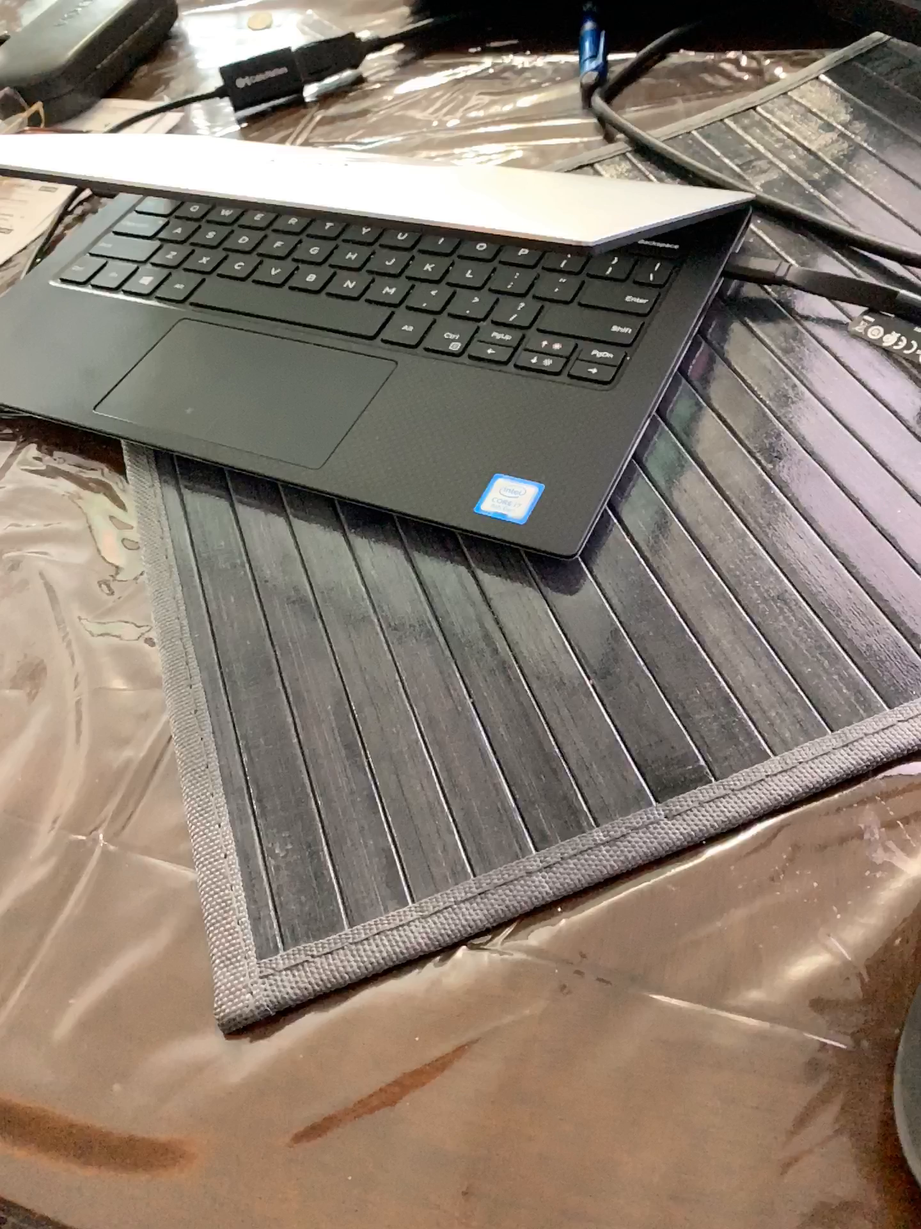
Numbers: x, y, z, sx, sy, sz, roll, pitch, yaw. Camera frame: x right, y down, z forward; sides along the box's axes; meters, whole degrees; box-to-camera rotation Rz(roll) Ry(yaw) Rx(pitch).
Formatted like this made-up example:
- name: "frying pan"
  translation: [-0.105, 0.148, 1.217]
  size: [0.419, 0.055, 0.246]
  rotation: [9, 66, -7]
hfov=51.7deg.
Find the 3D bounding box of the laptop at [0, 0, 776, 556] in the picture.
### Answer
- name: "laptop"
  translation: [-0.061, -0.151, 0.347]
  size: [0.290, 0.081, 0.183]
  rotation: [17, 58, 22]
